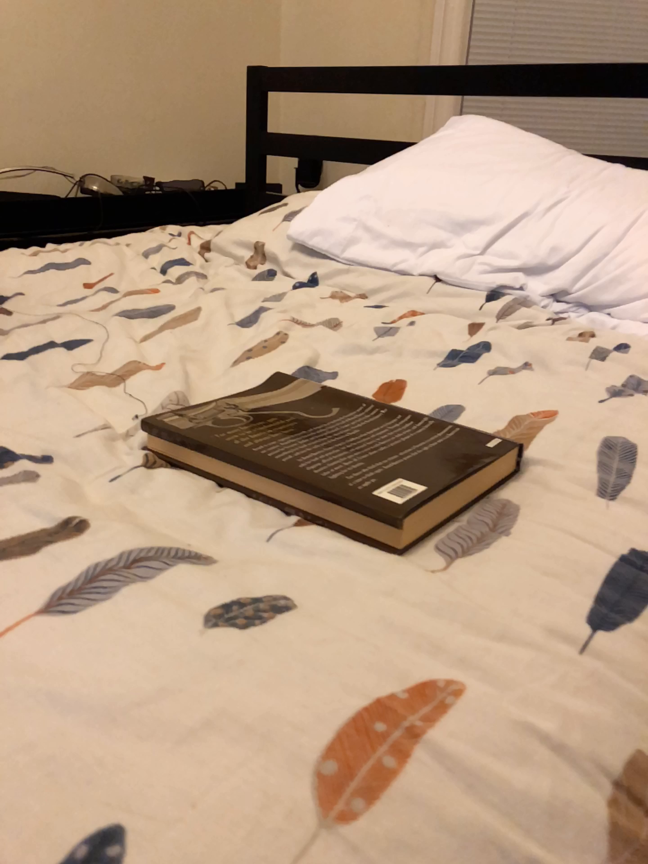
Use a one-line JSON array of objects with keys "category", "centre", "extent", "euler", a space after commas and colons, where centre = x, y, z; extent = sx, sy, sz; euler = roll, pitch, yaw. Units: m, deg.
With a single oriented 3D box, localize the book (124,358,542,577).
[{"category": "book", "centre": [0.005, 0.006, 0.516], "extent": [0.240, 0.030, 0.181], "euler": [20, 29, 35]}]
